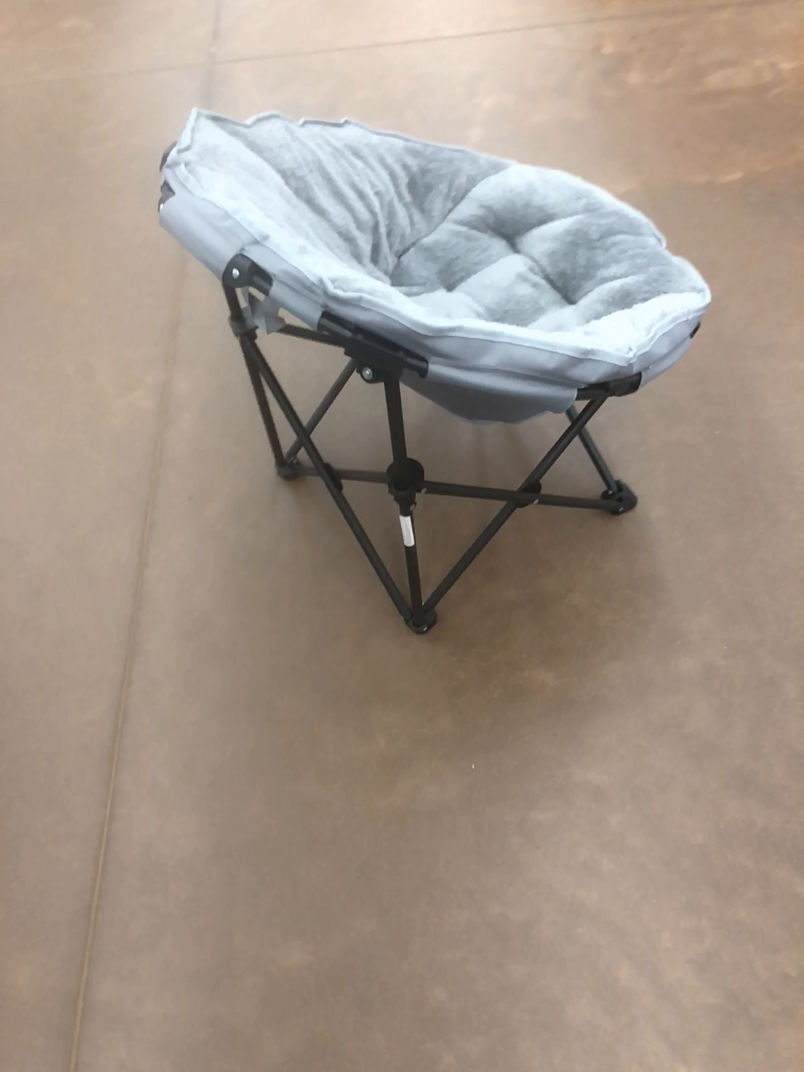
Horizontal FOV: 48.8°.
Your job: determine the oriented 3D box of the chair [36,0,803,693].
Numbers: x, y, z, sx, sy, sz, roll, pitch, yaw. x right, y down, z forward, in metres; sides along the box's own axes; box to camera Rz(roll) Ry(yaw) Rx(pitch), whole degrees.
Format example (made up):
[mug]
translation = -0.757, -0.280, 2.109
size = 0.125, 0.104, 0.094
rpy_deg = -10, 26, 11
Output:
[chair]
translation = 0.059, -0.307, 1.095
size = 0.630, 0.529, 0.571
rpy_deg = -33, 58, -17
